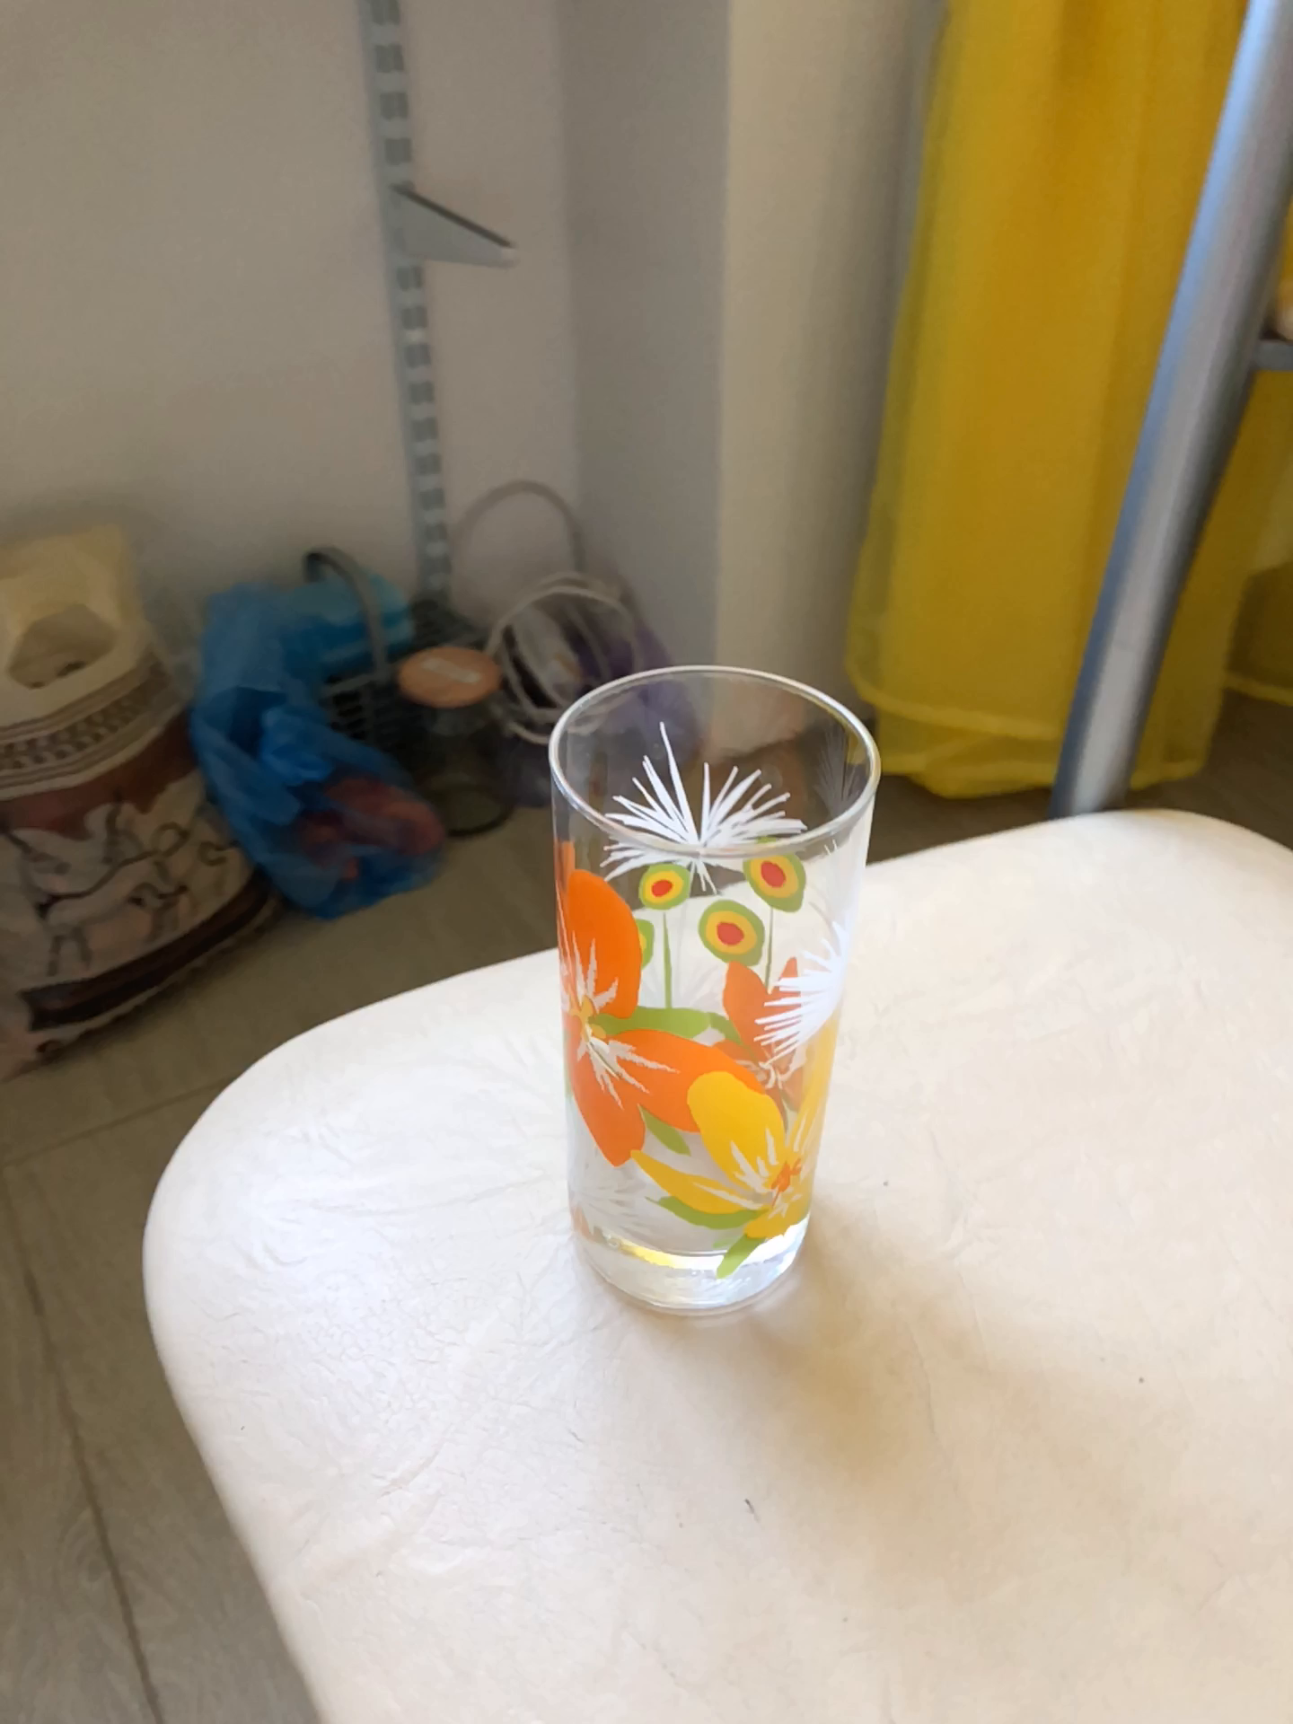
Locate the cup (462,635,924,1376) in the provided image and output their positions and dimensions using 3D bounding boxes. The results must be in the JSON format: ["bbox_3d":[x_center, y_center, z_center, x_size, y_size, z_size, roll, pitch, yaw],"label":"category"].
[{"bbox_3d":[0.010,0.032,0.305,0.061,0.133,0.063,0,37,0],"label":"cup"}]
